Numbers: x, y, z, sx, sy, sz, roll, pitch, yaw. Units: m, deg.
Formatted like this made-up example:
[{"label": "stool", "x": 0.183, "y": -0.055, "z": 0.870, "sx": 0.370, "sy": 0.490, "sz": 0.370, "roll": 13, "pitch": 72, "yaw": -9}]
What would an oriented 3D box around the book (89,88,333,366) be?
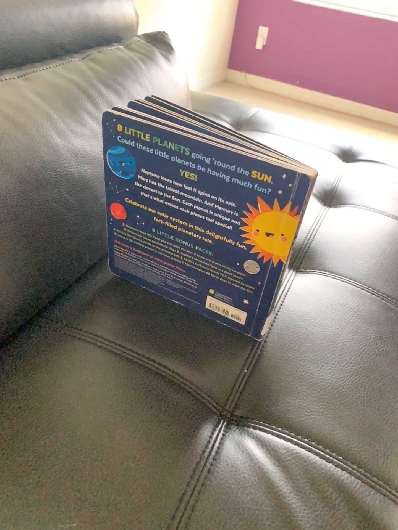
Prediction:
[{"label": "book", "x": -0.004, "y": -0.039, "z": 0.428, "sx": 0.208, "sy": 0.211, "sz": 0.079, "roll": 29, "pitch": 45, "yaw": 23}]
